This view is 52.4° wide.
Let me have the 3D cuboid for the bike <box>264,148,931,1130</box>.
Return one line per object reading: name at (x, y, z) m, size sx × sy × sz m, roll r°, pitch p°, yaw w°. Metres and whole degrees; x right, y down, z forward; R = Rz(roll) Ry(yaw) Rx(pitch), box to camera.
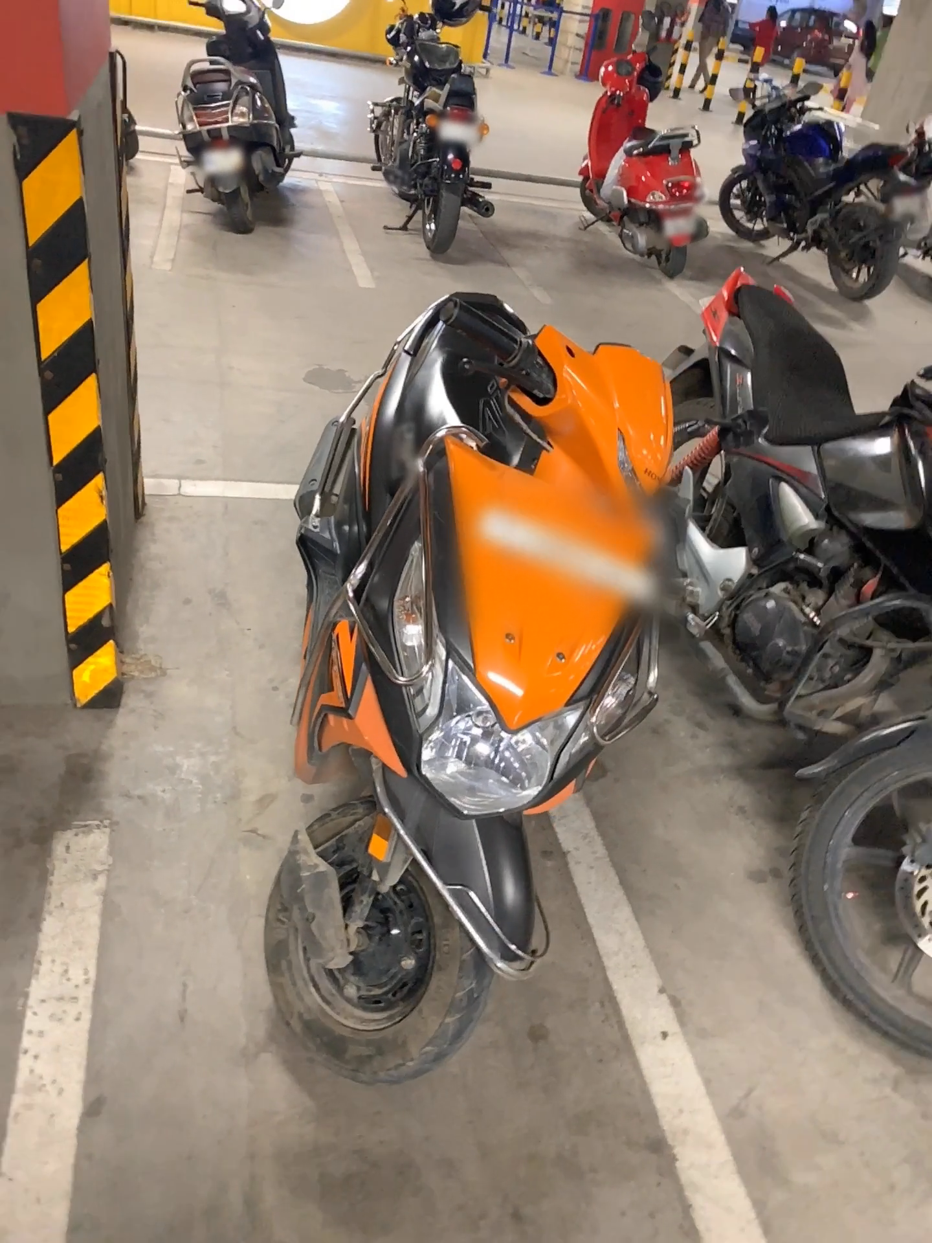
bike at (0.095, -0.125, 1.896) m, size 0.724 × 1.172 × 1.613 m, roll 5°, pitch 34°, yaw -7°
